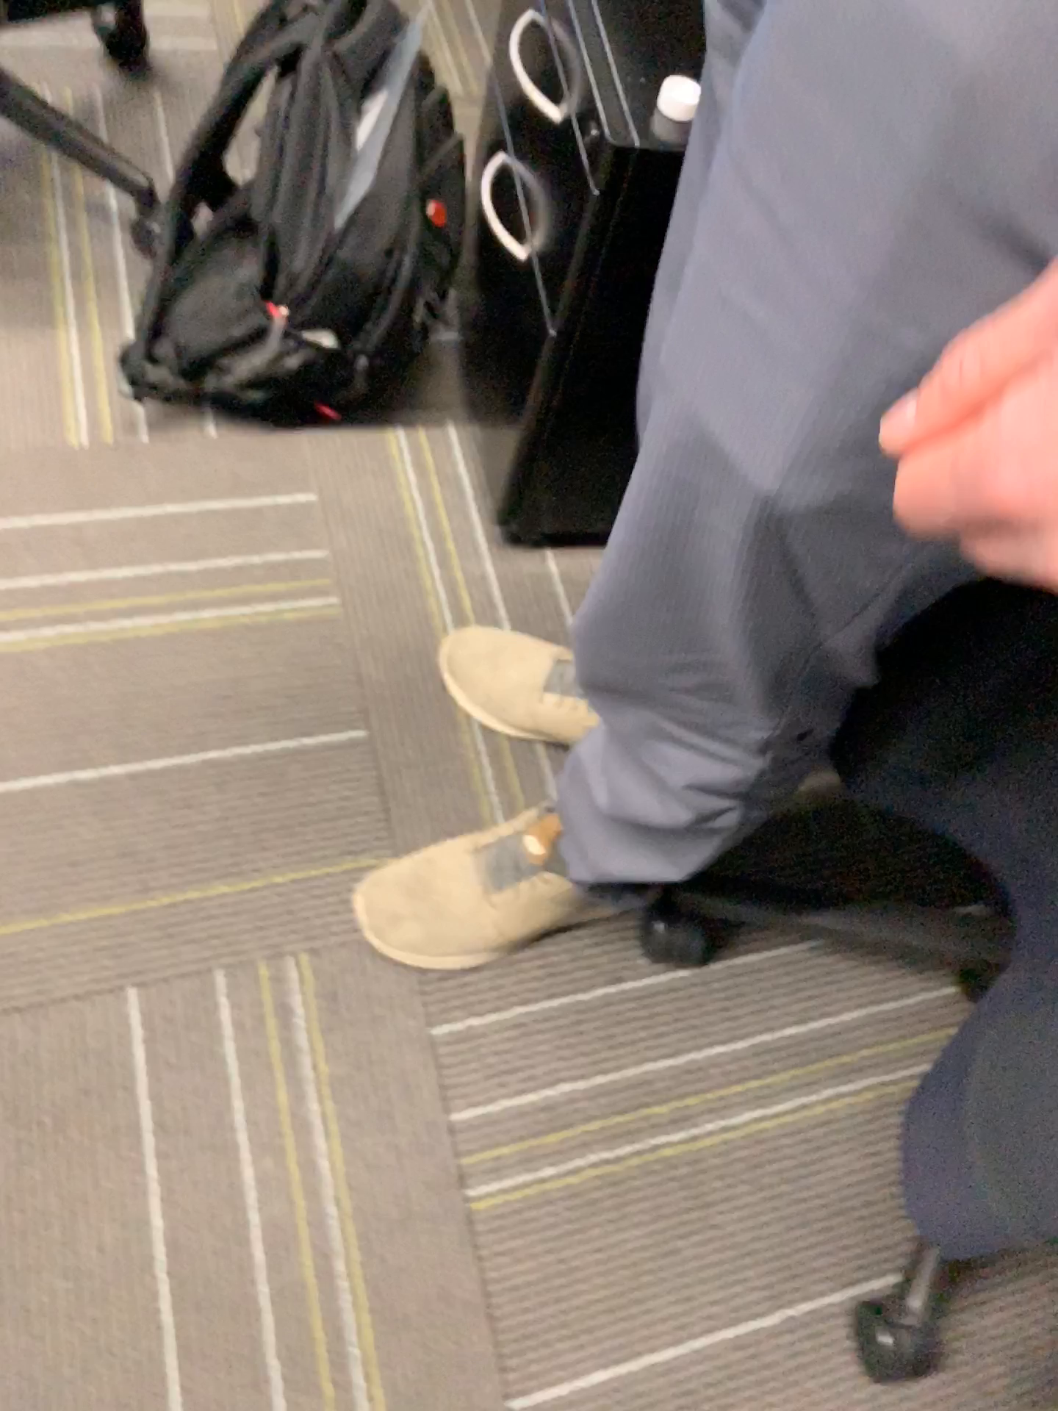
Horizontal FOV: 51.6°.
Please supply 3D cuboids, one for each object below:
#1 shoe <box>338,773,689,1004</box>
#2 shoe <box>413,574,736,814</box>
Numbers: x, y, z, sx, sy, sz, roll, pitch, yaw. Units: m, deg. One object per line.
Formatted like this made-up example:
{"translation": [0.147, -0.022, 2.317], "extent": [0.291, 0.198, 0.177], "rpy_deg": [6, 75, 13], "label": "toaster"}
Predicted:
{"translation": [-0.018, 0.173, 1.054], "extent": [0.301, 0.098, 0.126], "rpy_deg": [-12, 66, -18], "label": "shoe"}
{"translation": [0.045, -0.010, 1.133], "extent": [0.301, 0.098, 0.107], "rpy_deg": [23, 60, 0], "label": "shoe"}
